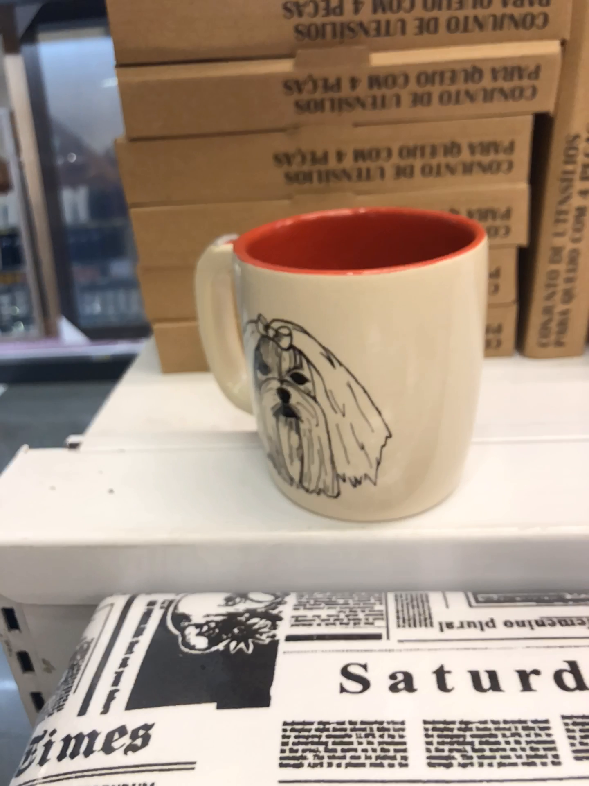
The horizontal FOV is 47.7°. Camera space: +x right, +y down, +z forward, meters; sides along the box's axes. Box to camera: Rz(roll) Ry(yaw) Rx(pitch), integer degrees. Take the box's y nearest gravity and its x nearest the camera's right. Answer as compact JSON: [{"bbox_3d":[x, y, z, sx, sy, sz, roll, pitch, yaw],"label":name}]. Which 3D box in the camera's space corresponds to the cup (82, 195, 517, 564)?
[{"bbox_3d":[0.008,-0.017,0.246,0.120,0.089,0.091,10,30,27],"label":"cup"}]
